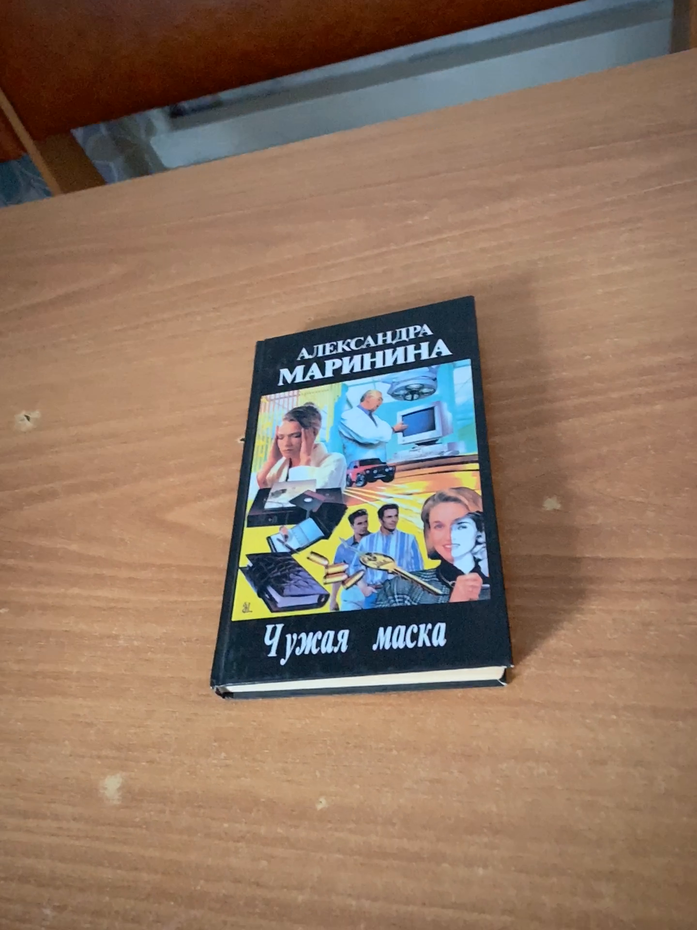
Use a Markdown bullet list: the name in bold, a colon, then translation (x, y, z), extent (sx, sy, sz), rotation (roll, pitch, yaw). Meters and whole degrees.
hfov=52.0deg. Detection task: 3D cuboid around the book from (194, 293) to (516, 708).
- **book**: translation (0.005, 0.010, 0.352), extent (0.130, 0.030, 0.201), rotation (-9, 54, 16)
